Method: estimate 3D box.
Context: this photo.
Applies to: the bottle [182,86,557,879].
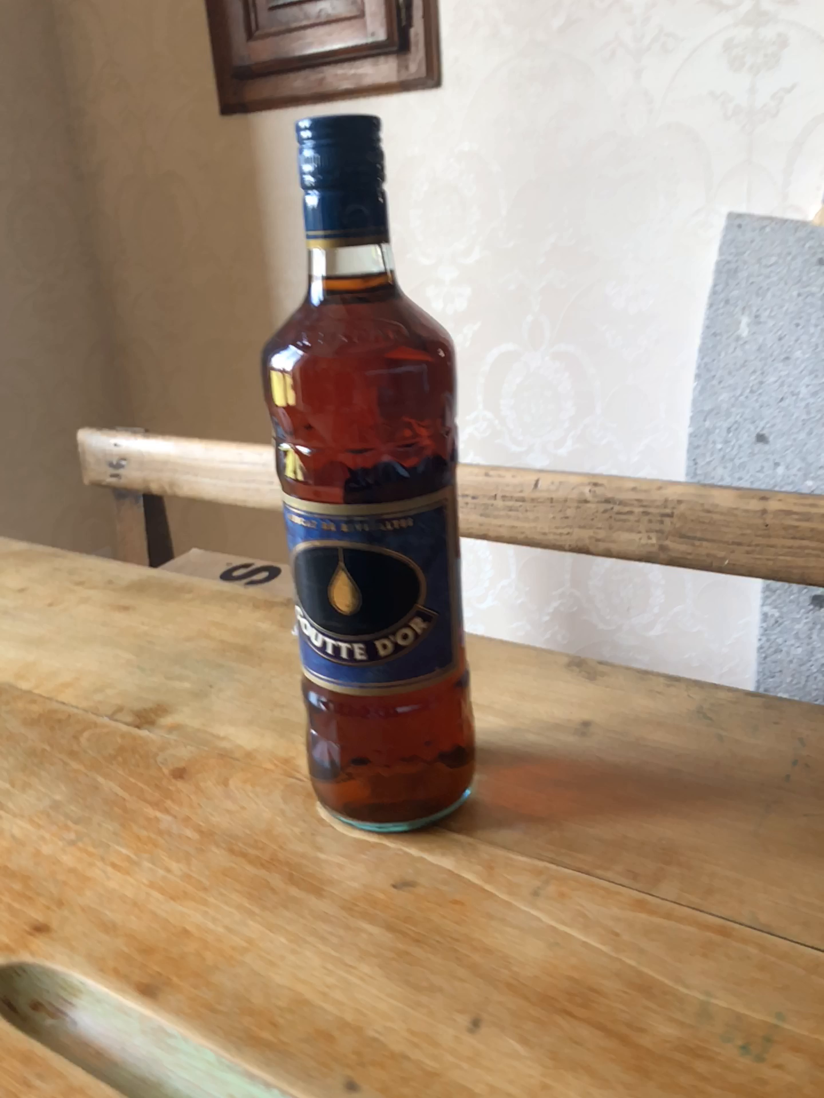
[{"bbox_3d":[-0.004,-0.024,0.369,0.090,0.279,0.101,8,23,30],"label":"bottle"}]
